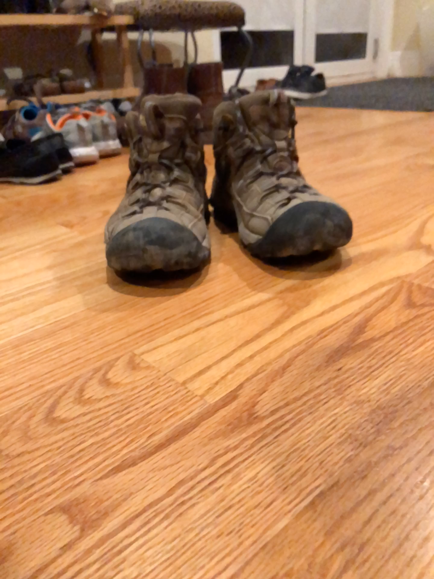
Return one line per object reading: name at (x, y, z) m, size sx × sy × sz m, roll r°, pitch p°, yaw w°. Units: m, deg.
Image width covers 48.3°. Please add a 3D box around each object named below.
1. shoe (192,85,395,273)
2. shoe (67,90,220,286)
shoe at (0.060, -0.138, 0.522) m, size 0.107 × 0.139 × 0.261 m, roll -9°, pitch 26°, yaw -13°
shoe at (-0.057, -0.124, 0.507) m, size 0.107 × 0.139 × 0.261 m, roll -3°, pitch 25°, yaw 0°
